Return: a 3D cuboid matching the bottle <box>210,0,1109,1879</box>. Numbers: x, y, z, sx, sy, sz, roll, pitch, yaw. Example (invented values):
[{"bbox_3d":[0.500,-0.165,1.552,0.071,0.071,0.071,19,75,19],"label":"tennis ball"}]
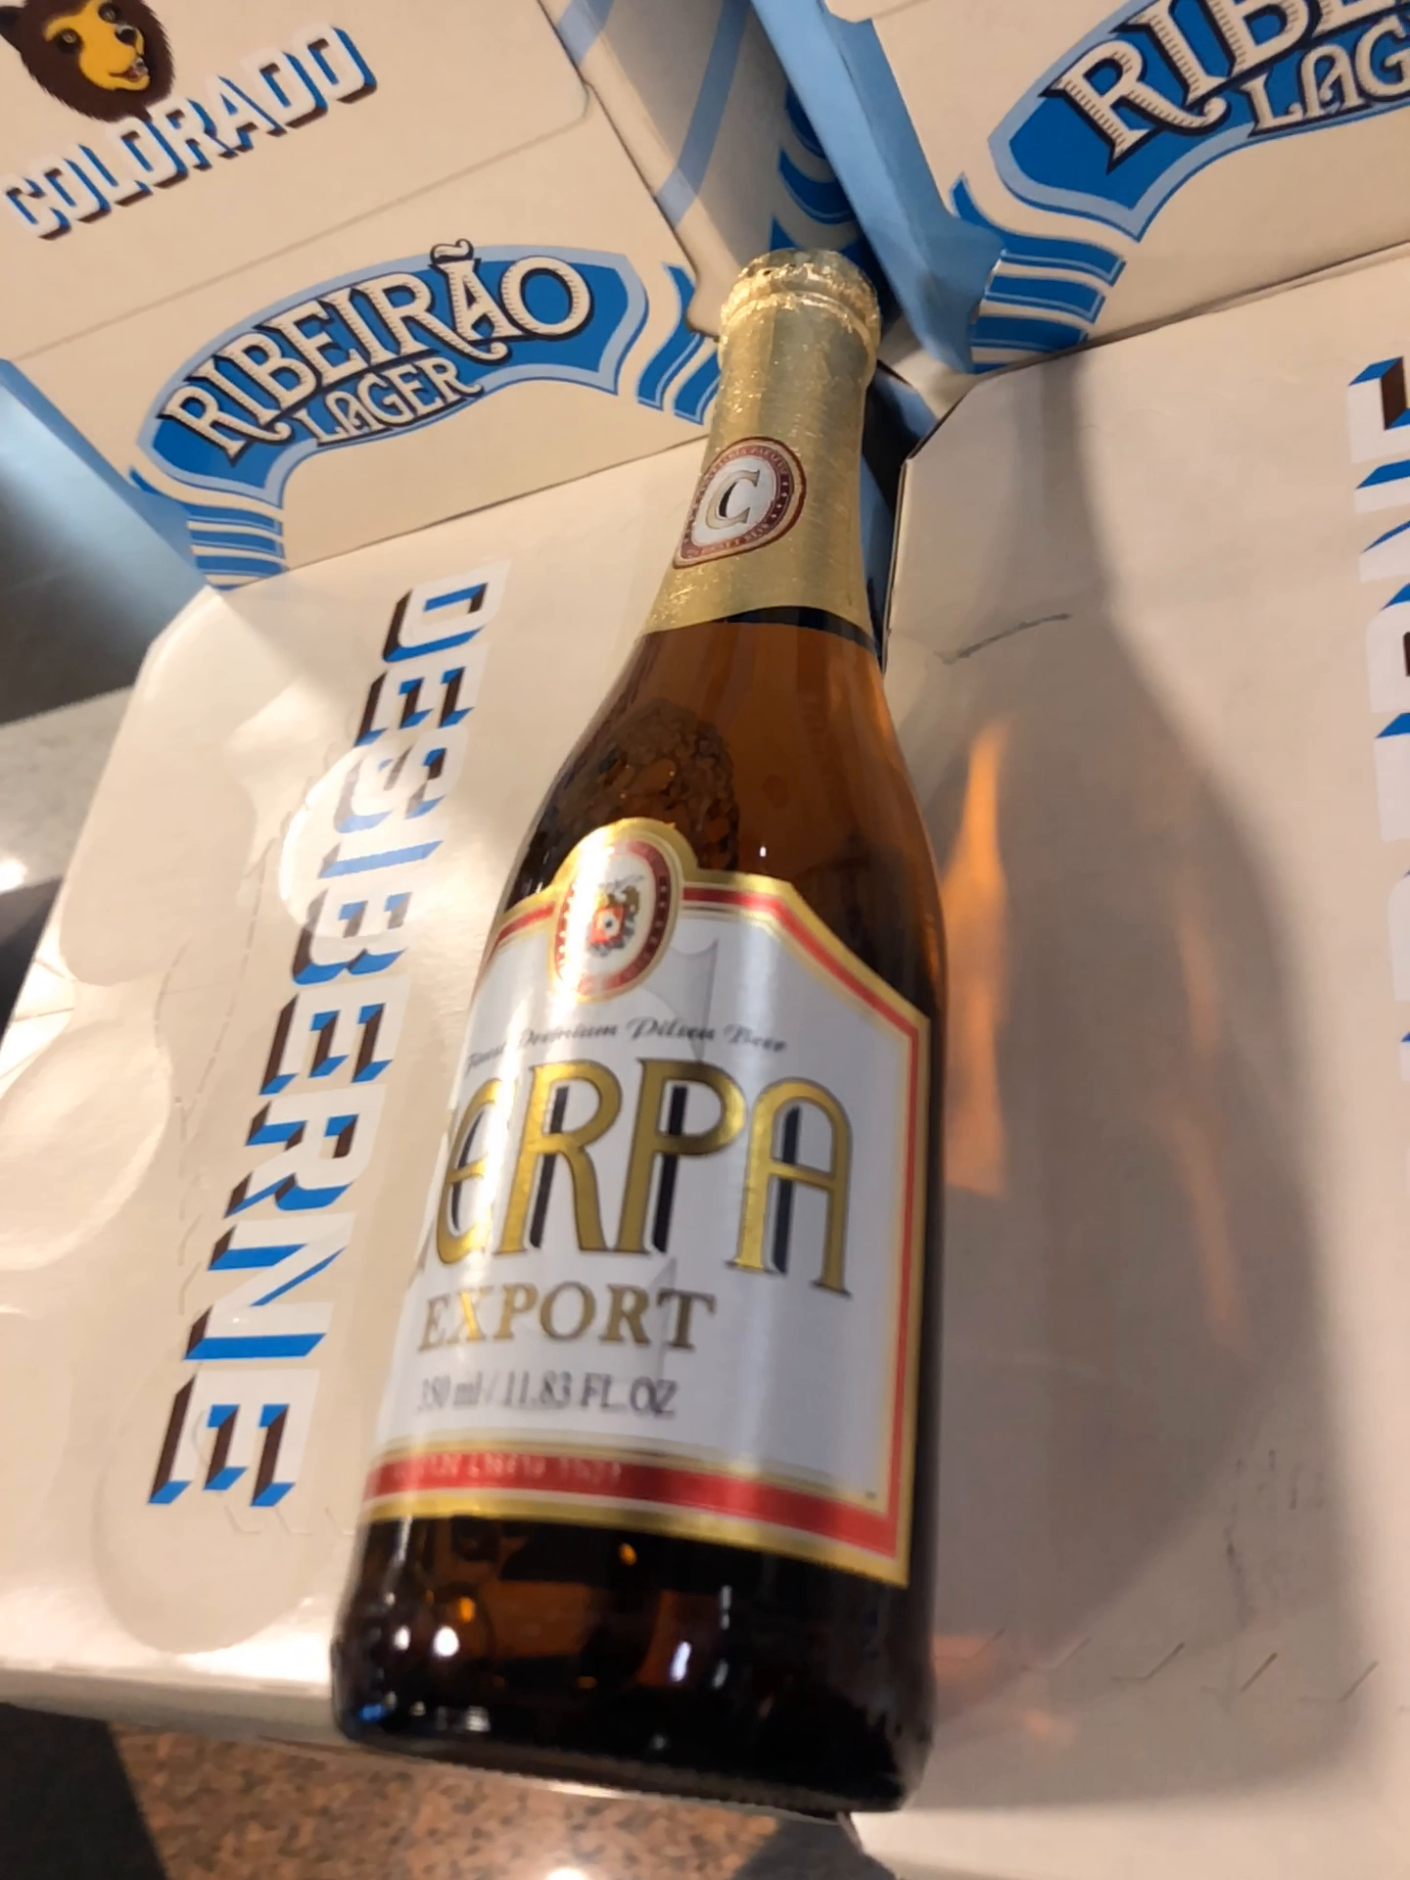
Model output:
[{"bbox_3d":[0.012,-0.016,0.213,0.070,0.060,0.241,-8,58,27],"label":"bottle"}]
